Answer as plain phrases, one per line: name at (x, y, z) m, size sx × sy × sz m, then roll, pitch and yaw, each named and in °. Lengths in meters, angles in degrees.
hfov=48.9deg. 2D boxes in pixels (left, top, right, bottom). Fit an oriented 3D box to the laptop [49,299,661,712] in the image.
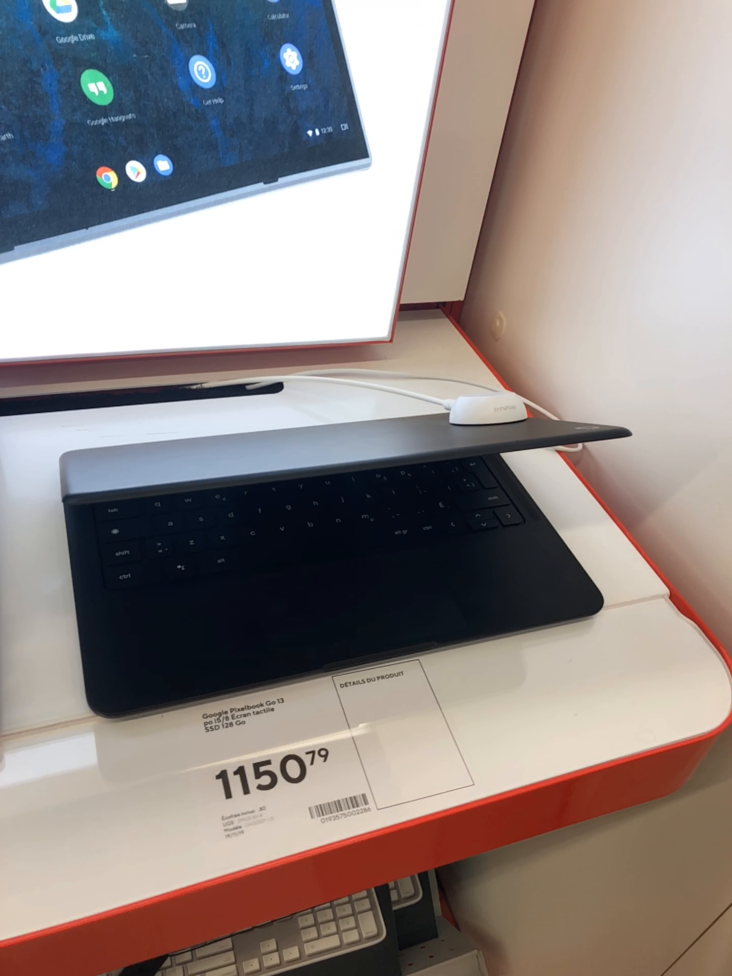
laptop at (-0.020, -0.012, 0.486) m, size 0.298 × 0.106 × 0.199 m, roll -8°, pitch 42°, yaw -20°
